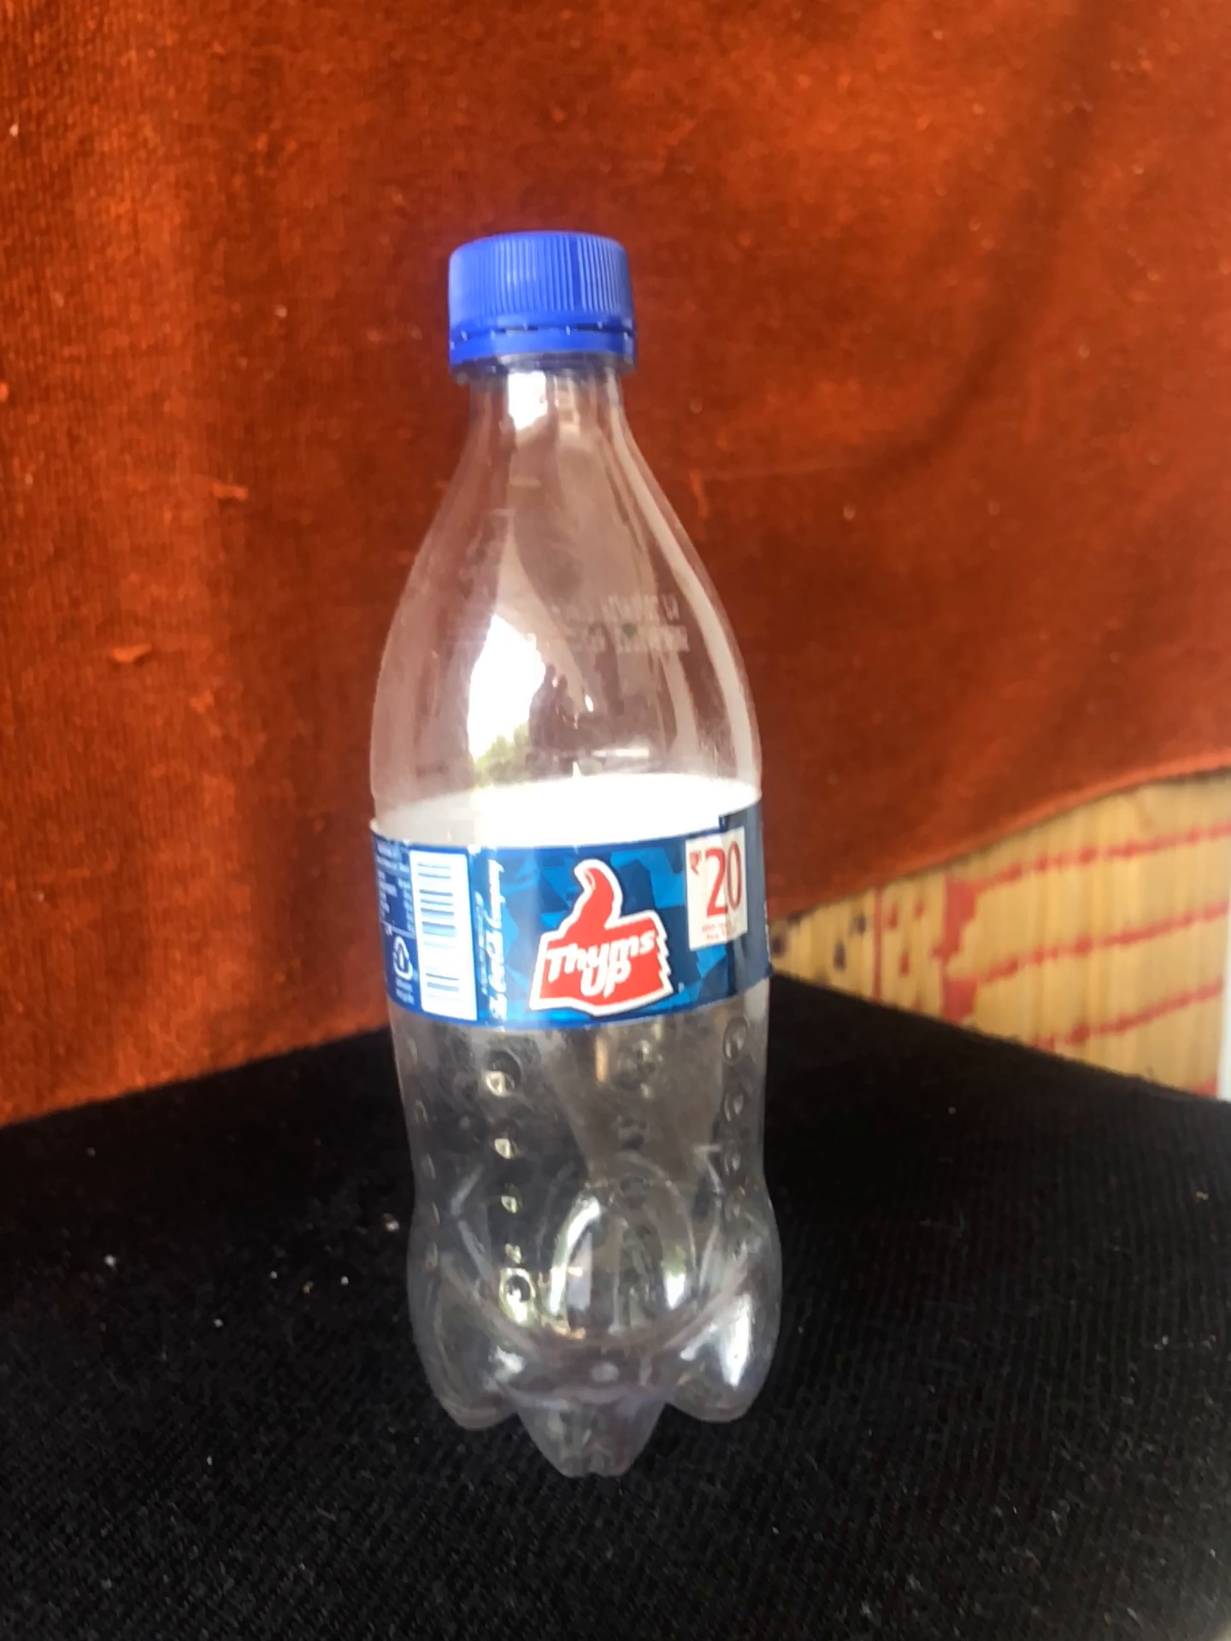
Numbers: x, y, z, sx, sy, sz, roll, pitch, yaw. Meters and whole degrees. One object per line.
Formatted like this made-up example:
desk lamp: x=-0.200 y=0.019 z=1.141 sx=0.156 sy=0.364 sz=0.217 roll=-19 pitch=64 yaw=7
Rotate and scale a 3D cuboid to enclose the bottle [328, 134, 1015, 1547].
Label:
bottle: x=0.006 y=0.001 z=0.172 sx=0.060 sy=0.140 sz=0.050 roll=-9 pitch=14 yaw=-37
